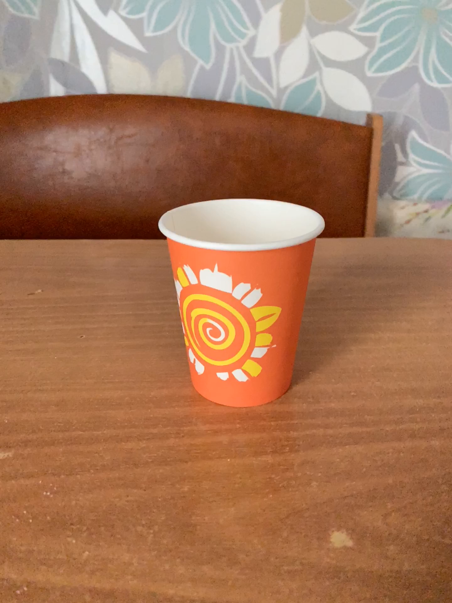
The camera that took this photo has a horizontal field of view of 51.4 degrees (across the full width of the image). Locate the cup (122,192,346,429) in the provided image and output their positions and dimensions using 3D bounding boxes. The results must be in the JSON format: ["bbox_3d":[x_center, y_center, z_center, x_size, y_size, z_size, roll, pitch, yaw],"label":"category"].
[{"bbox_3d":[0.007,-0.003,0.244,0.081,0.083,0.079,0,26,0],"label":"cup"}]
